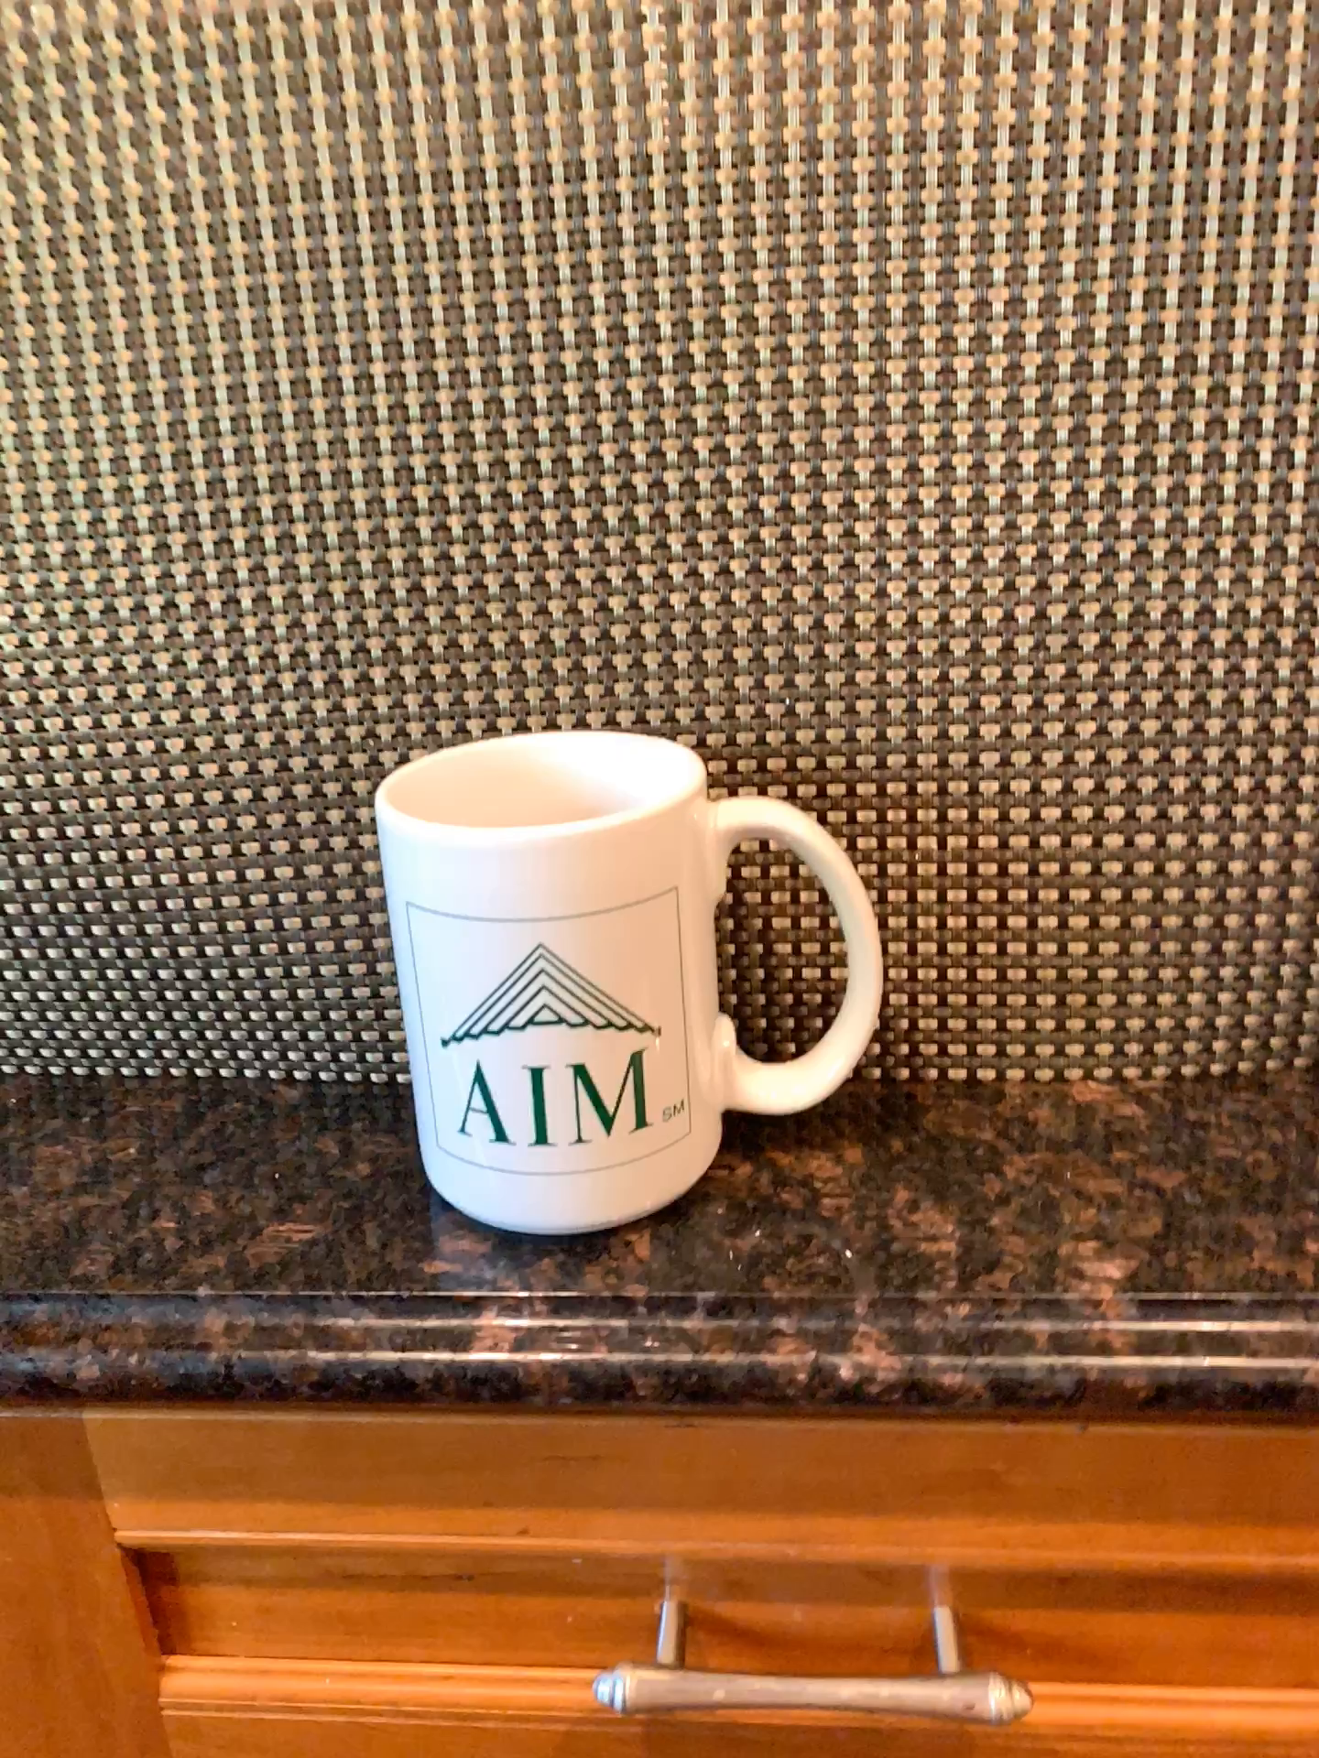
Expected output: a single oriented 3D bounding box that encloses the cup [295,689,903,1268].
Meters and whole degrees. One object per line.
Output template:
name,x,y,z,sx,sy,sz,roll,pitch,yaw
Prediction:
cup,-0.013,0.020,0.352,0.130,0.109,0.090,-5,21,-4
